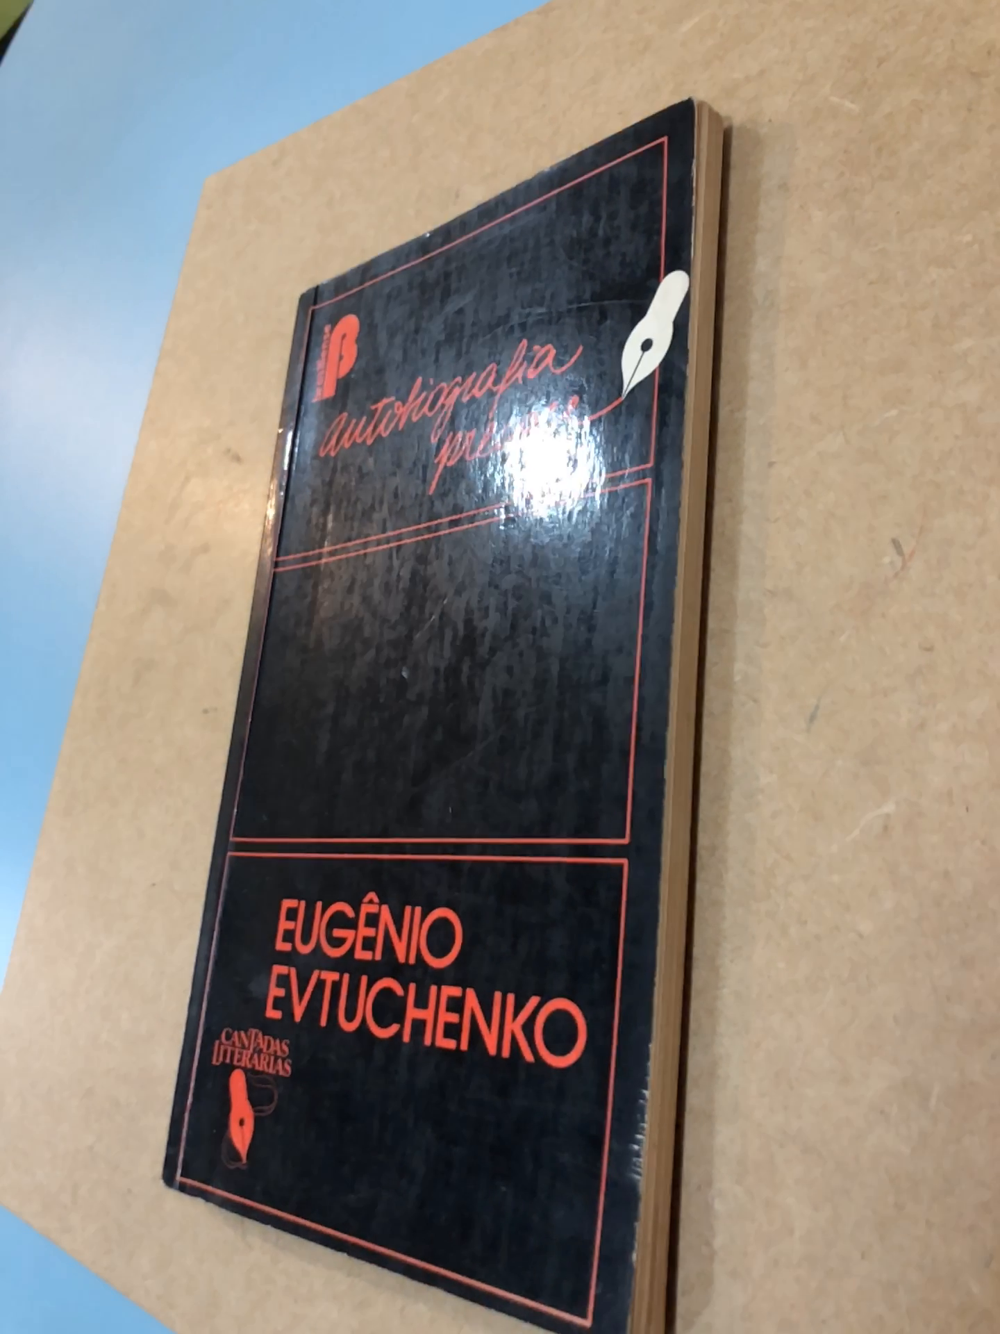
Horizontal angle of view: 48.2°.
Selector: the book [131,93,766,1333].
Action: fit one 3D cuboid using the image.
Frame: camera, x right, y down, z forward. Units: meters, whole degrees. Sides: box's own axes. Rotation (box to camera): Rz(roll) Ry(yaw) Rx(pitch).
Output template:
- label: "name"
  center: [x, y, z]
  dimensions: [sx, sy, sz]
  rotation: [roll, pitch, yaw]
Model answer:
- label: "book"
  center: [-0.012, 0.006, 0.201]
  dimensions: [0.114, 0.016, 0.190]
  rotation: [-7, 70, 42]
